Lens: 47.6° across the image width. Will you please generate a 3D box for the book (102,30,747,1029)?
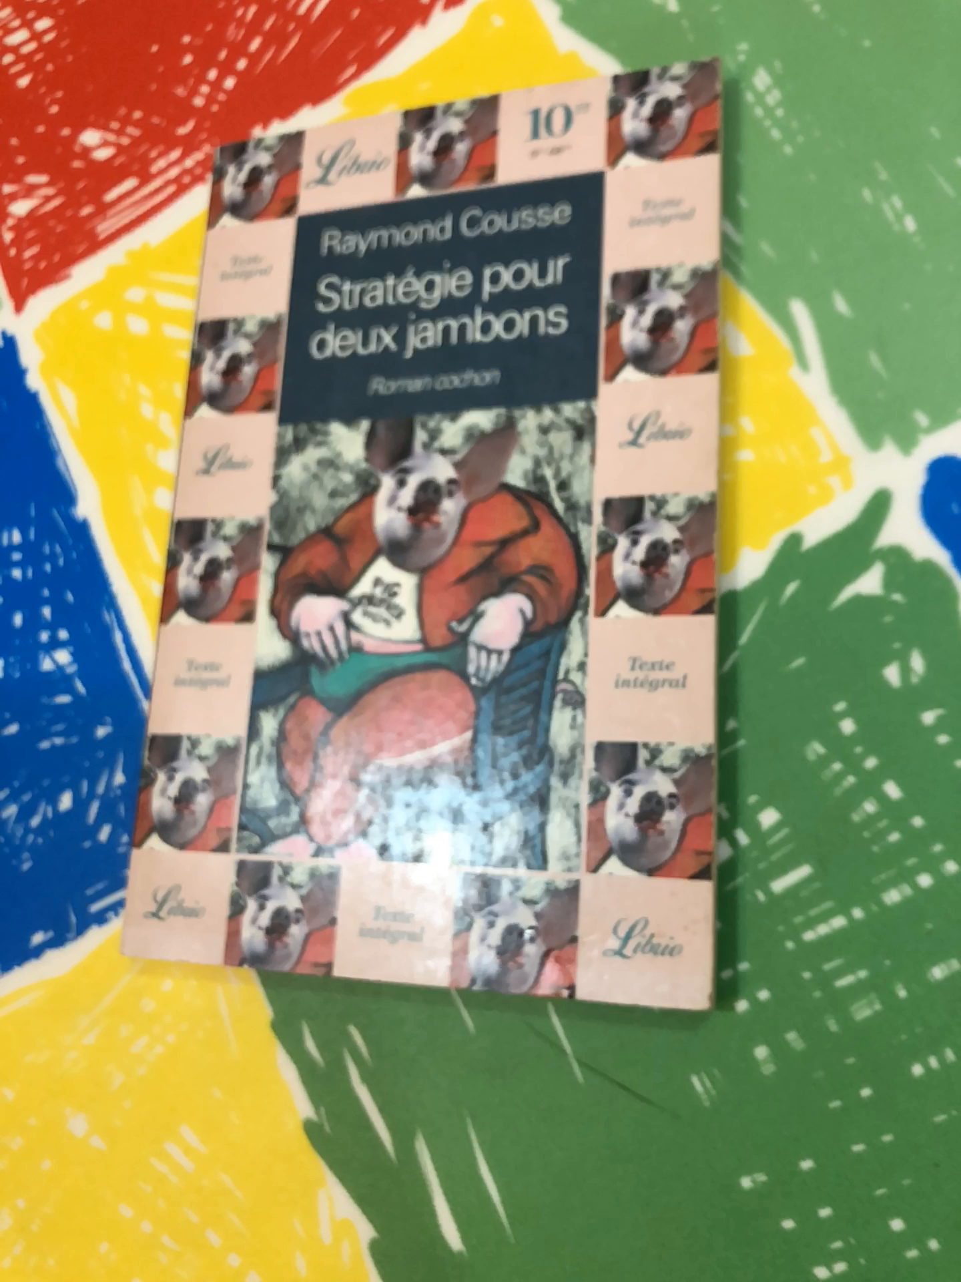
[{"bbox_3d":[-0.010,-0.028,0.233,0.130,0.014,0.197,-1,78,19],"label":"book"}]
